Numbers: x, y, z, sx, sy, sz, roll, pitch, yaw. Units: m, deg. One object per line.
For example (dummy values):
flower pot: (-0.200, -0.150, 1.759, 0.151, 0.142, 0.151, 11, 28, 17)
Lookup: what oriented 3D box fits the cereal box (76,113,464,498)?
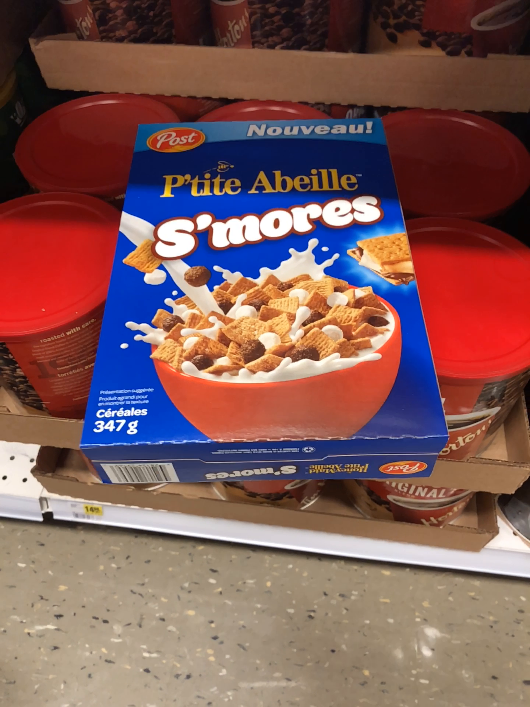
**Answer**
cereal box: (0.002, -0.052, 0.411, 0.200, 0.060, 0.291, -1, 55, 2)
